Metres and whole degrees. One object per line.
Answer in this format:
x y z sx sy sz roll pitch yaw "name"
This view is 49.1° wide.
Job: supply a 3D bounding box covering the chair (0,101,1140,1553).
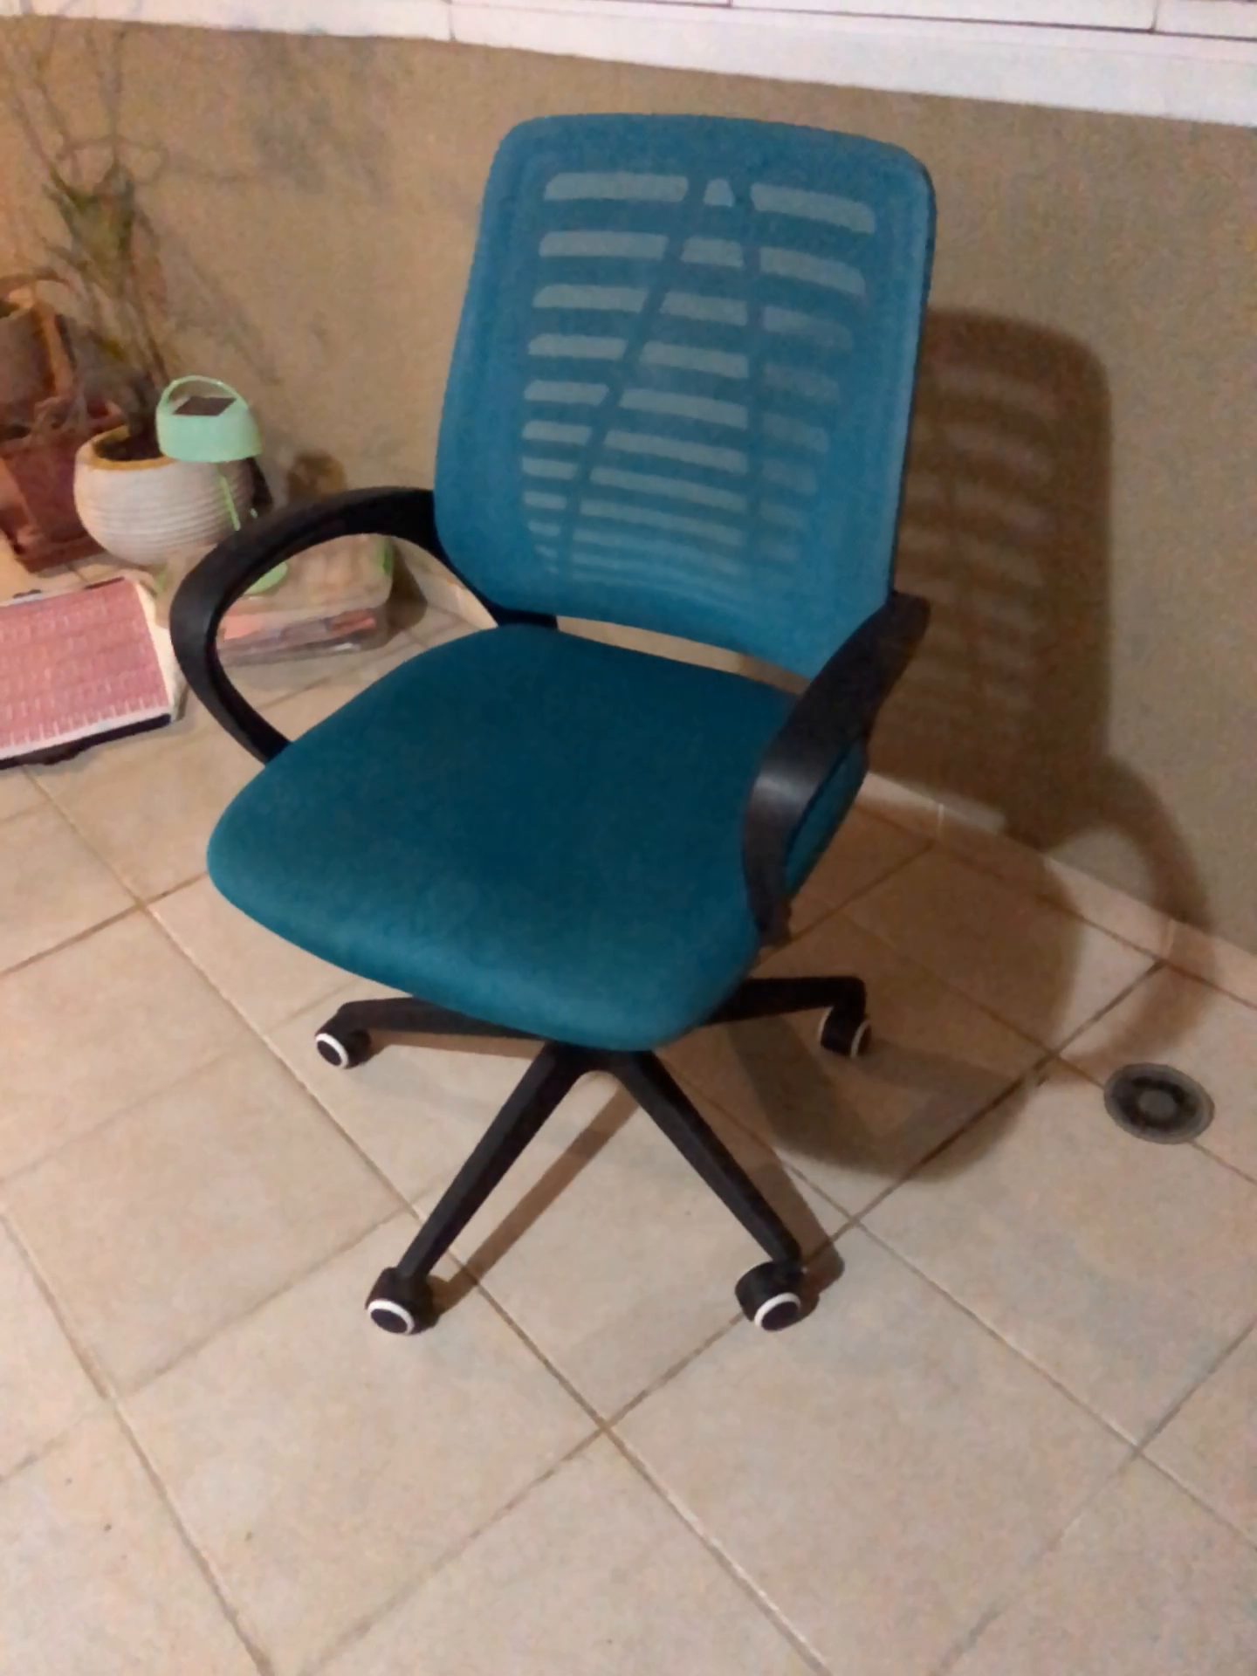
-0.063 -0.074 1.265 0.712 0.923 0.744 18 43 27 "chair"
